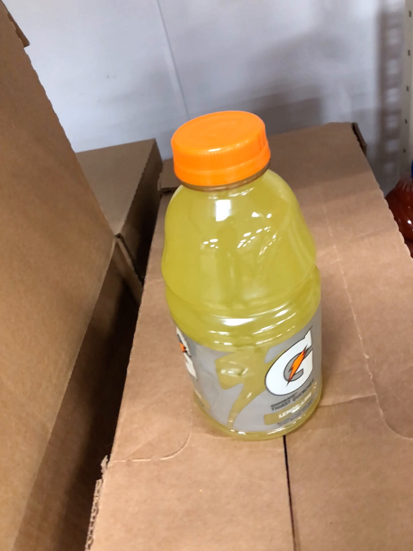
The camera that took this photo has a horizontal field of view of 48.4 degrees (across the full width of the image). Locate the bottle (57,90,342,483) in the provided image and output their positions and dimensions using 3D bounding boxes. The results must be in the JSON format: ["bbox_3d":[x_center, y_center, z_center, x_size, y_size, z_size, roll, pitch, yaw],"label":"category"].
[{"bbox_3d":[0.010,0.017,0.285,0.100,0.209,0.090,-29,42,-14],"label":"bottle"}]
